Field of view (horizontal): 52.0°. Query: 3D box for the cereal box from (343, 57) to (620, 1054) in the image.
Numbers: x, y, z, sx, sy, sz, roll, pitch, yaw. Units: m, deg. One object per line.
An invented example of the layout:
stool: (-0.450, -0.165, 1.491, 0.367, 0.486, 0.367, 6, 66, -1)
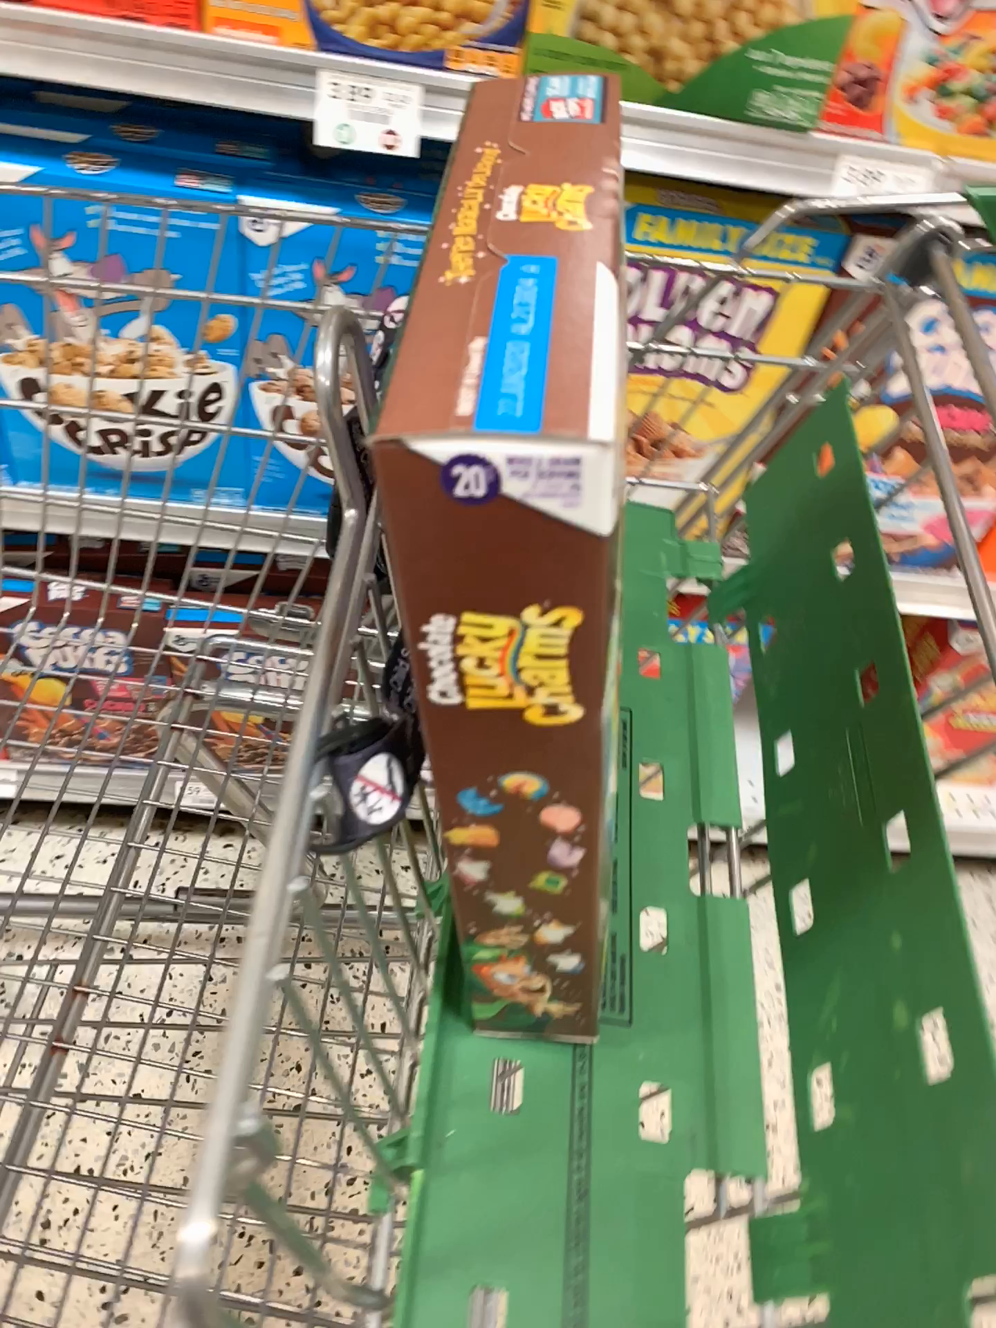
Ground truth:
cereal box: (0.010, -0.020, 0.369, 0.050, 0.297, 0.202, 2, 48, 5)
